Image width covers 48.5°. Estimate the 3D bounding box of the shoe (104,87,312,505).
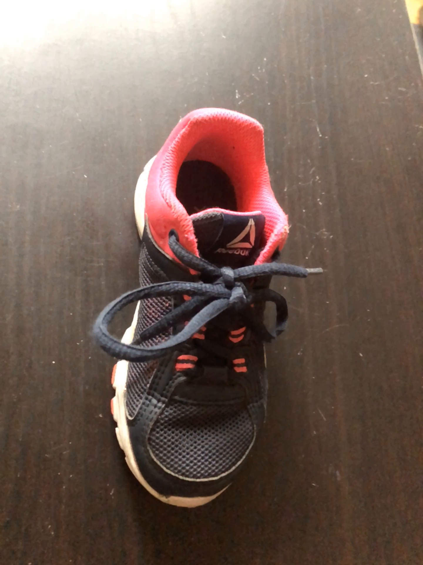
[{"bbox_3d":[-0.006,0.006,0.251,0.080,0.070,0.193,6,70,-17],"label":"shoe"}]
